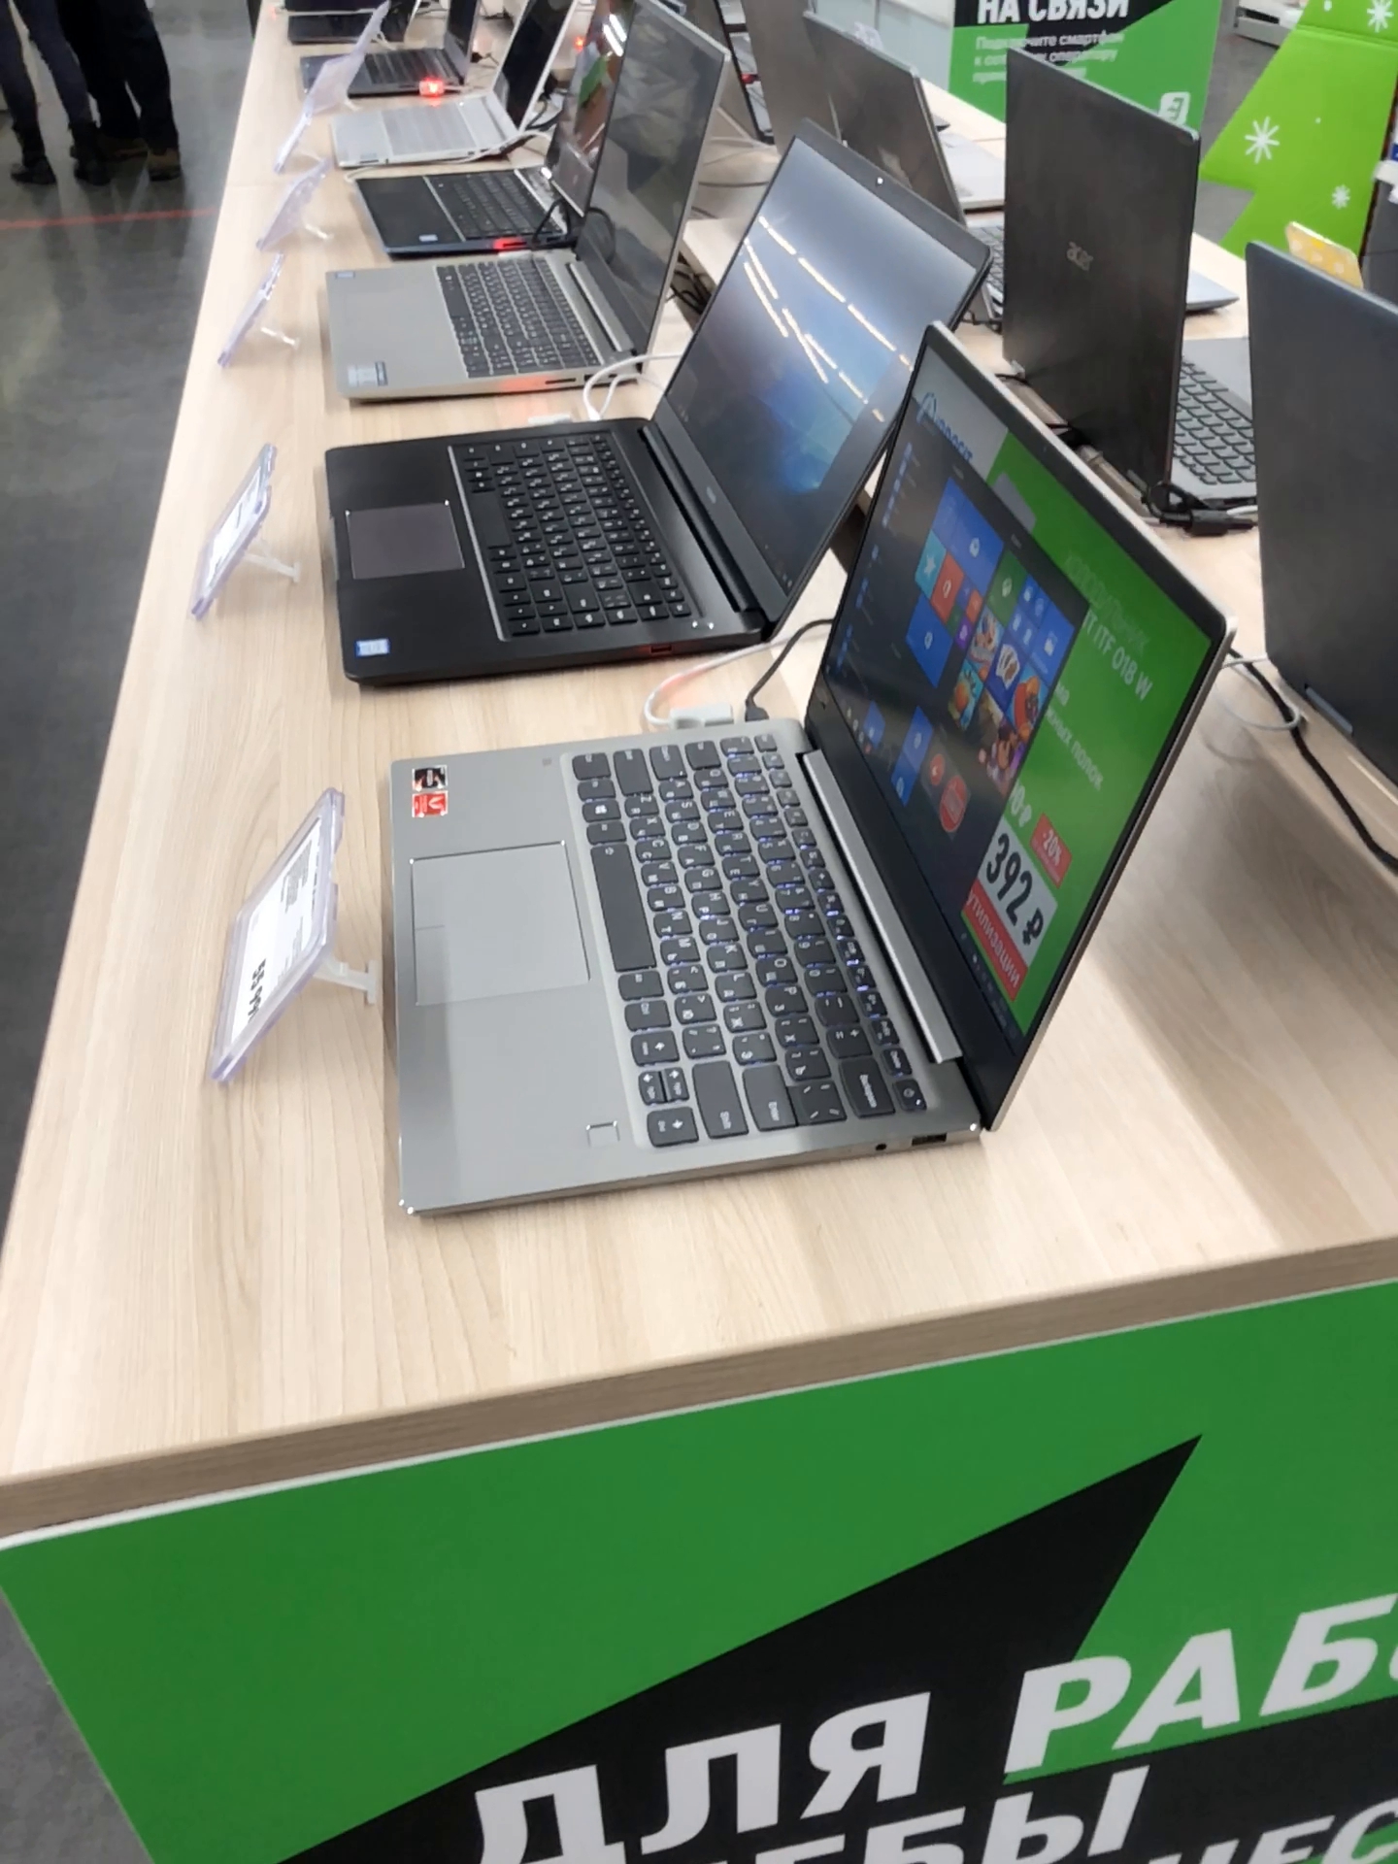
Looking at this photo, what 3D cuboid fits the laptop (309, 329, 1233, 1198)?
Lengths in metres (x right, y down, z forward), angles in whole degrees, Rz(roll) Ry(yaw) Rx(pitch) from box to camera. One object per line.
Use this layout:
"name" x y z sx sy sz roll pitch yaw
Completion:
"laptop" 0.002 -0.085 0.596 0.261 0.187 0.287 -7 38 -6

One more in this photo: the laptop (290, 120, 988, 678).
"laptop" -0.057 -0.340 0.926 0.339 0.188 0.346 -9 38 -8
